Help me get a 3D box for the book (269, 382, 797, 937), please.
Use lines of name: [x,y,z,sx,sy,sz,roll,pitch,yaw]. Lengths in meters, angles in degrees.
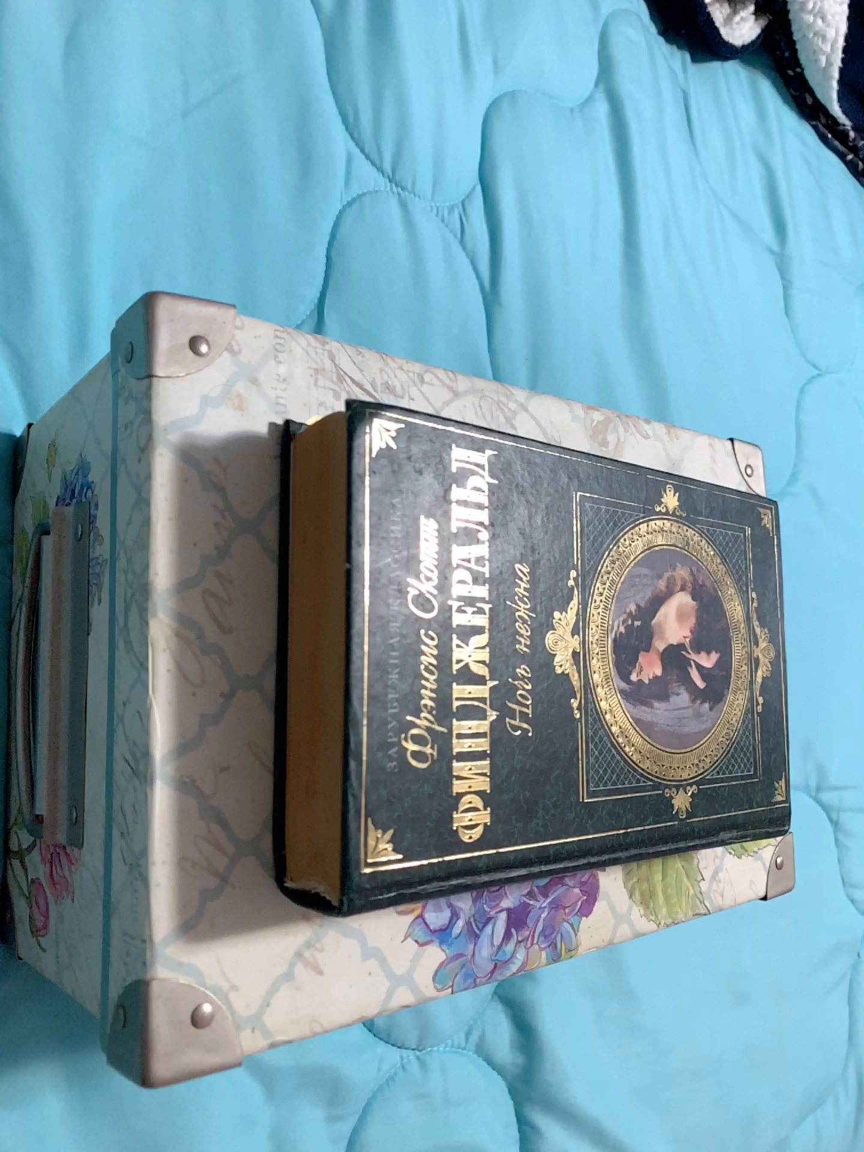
book: [0.051,0.028,0.305,0.221,0.030,0.140,6,80,-39]
